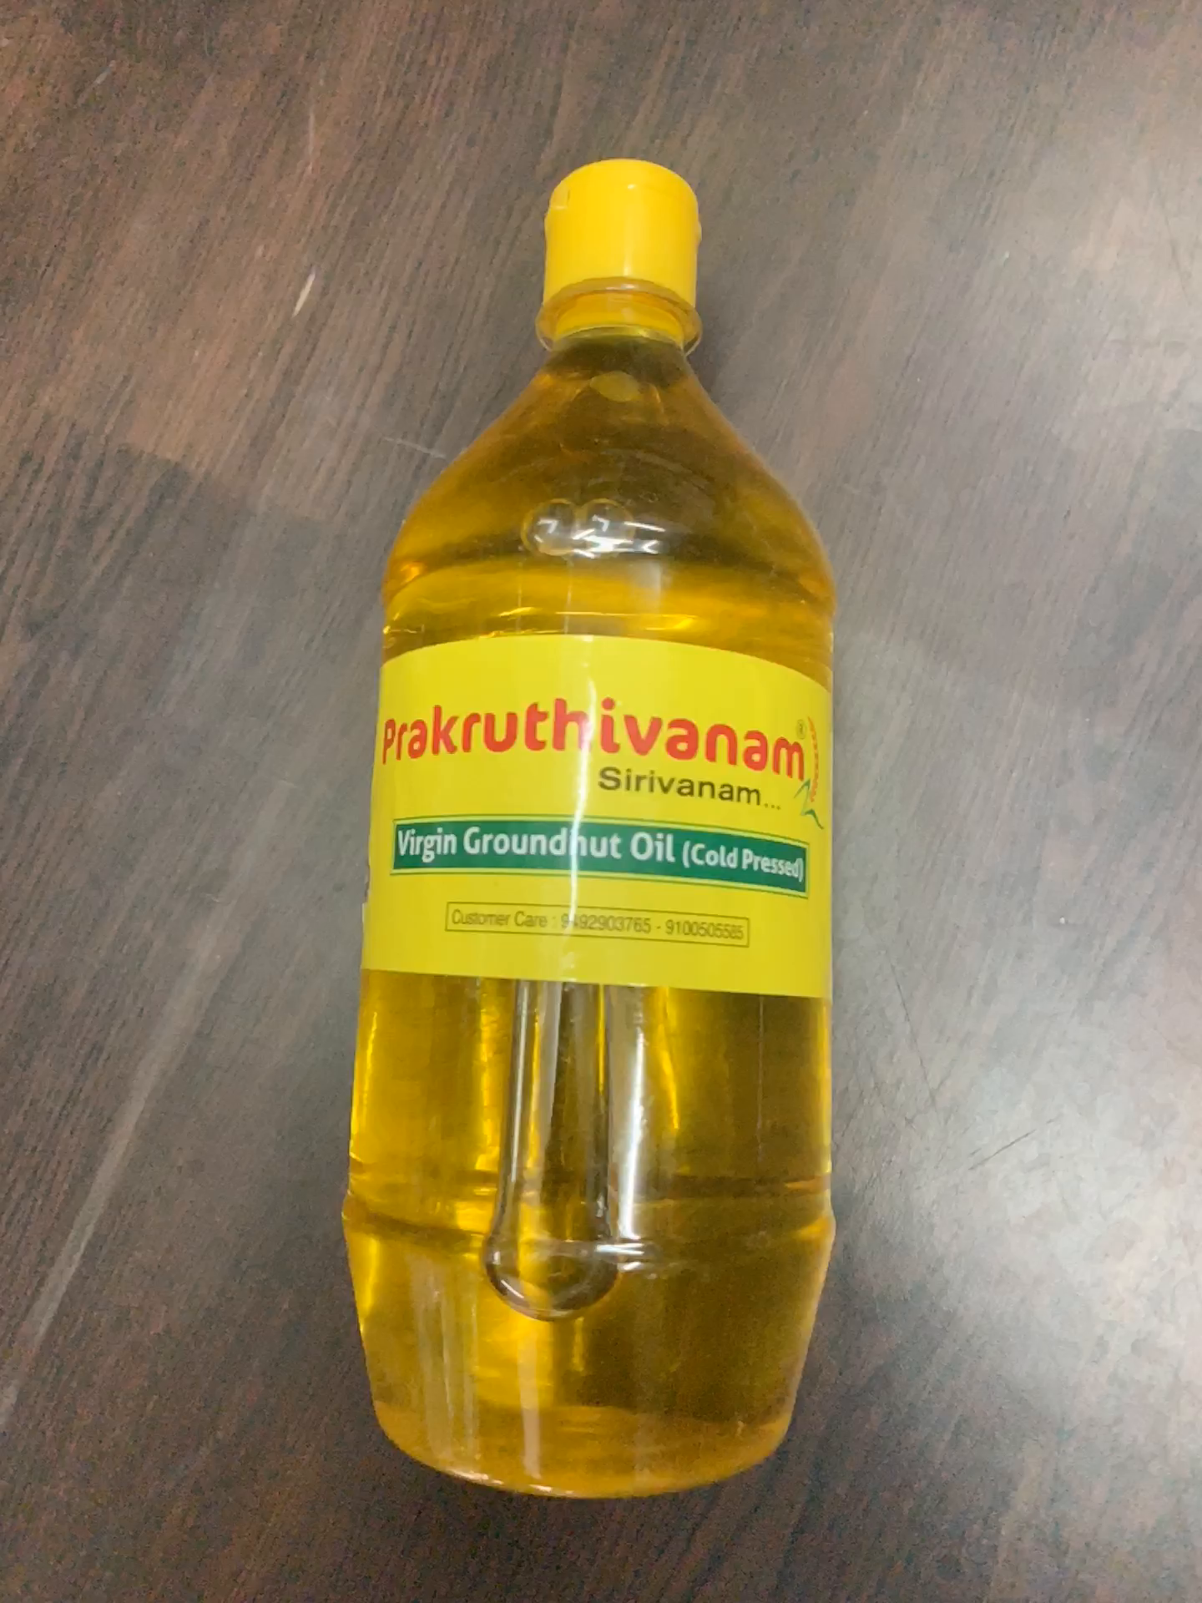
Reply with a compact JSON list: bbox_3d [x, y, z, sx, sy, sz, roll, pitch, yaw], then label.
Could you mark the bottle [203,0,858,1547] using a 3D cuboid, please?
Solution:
[{"bbox_3d":[-0.005,-0.021,0.231,0.090,0.080,0.260,2,82,2],"label":"bottle"}]
